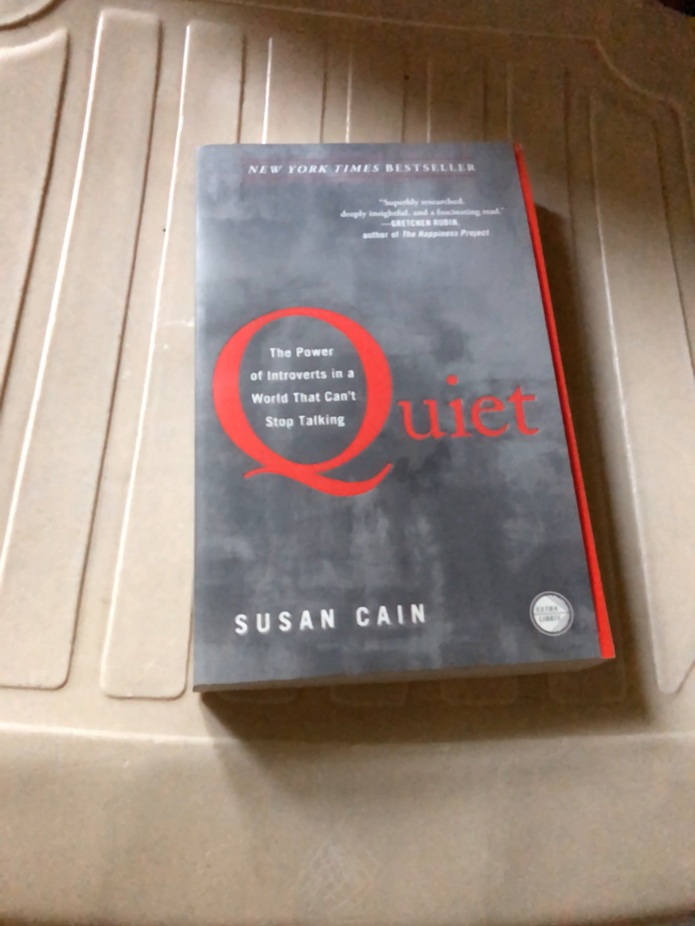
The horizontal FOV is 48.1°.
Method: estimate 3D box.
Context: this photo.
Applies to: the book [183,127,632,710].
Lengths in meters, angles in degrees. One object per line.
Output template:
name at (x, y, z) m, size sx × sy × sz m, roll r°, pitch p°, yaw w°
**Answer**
book at (0.011, -0.024, 0.269) m, size 0.130 × 0.030 × 0.200 m, roll -2°, pitch 71°, yaw -6°
